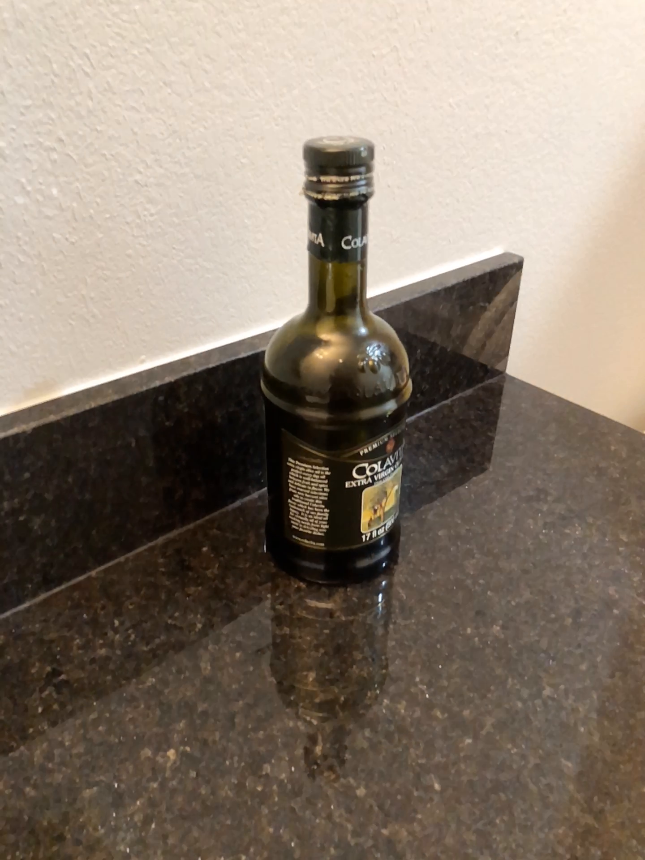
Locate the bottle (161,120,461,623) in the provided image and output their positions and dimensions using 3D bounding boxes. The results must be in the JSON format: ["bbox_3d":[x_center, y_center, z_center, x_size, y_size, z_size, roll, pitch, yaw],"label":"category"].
[{"bbox_3d":[-0.006,-0.028,0.361,0.090,0.219,0.090,1,32,0],"label":"bottle"}]
